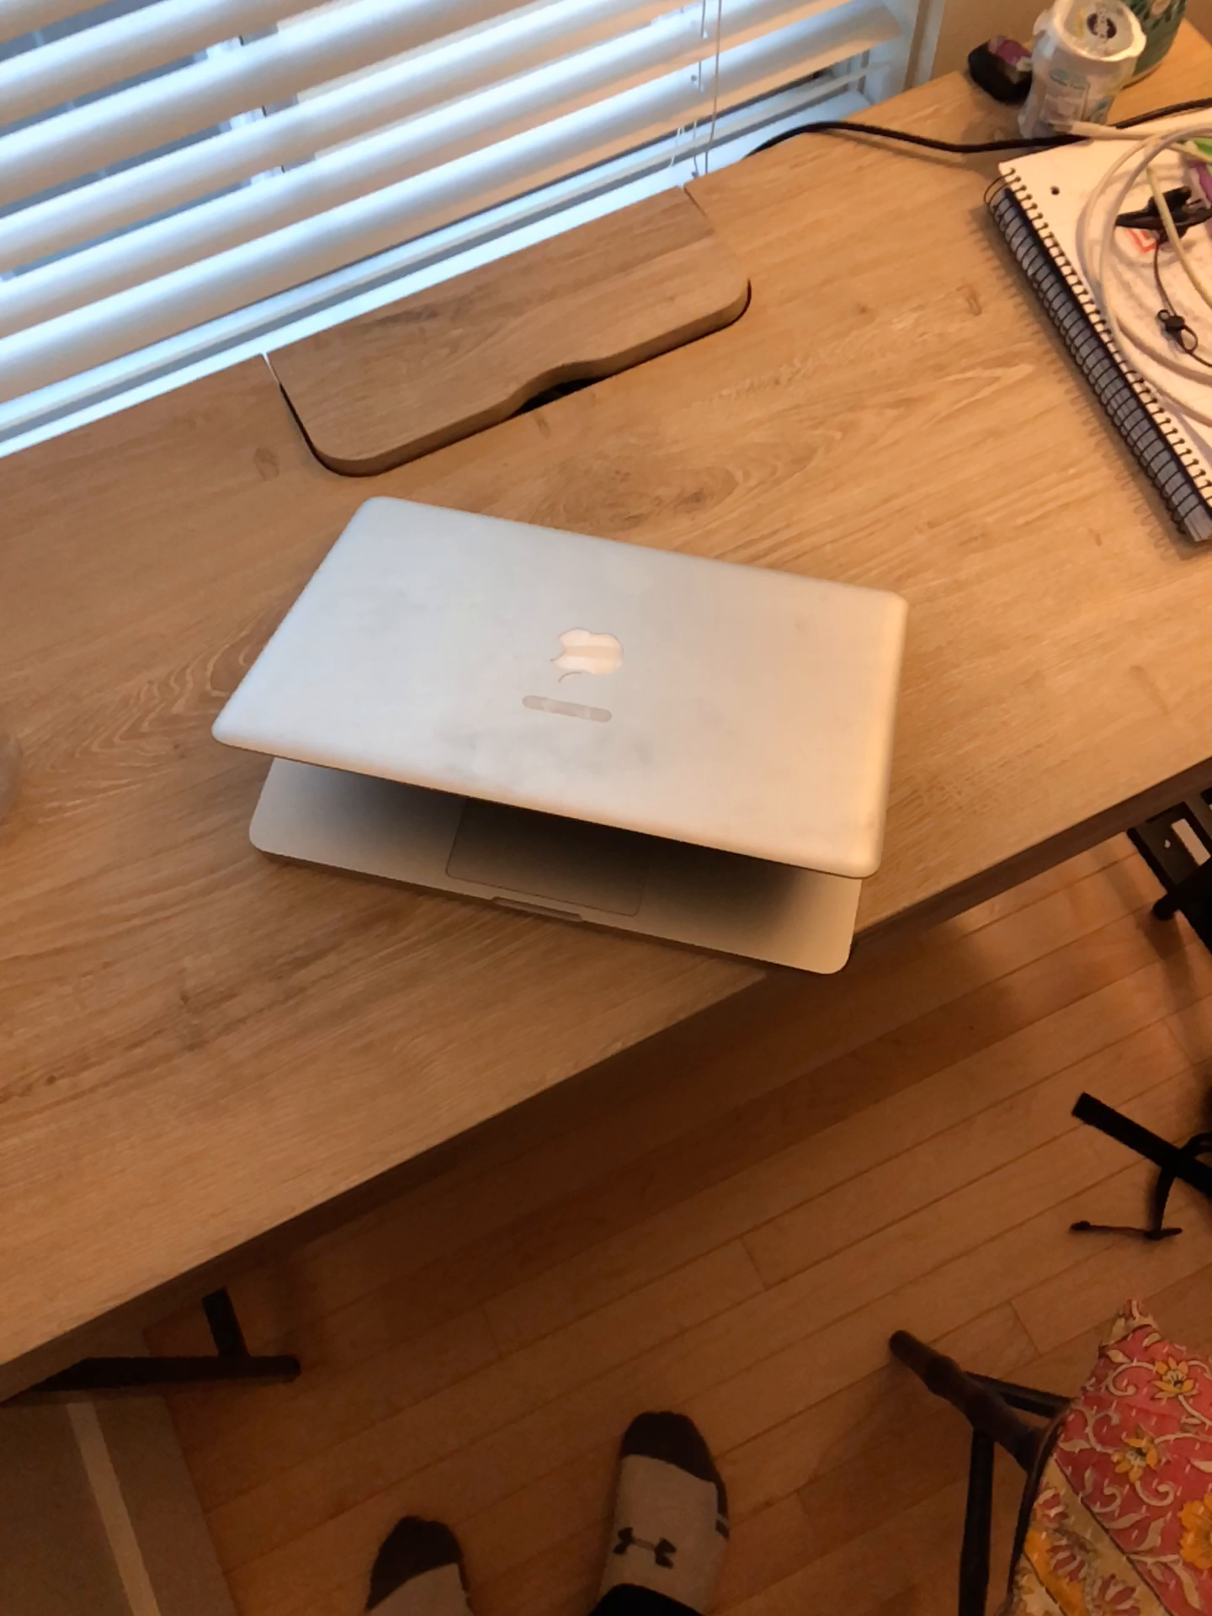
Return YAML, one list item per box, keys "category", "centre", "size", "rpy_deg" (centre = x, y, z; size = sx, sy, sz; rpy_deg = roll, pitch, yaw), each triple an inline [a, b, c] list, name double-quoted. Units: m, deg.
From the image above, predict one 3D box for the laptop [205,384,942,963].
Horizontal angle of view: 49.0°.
- category: "laptop"
  centre: [-0.008, -0.075, 0.691]
  size: [0.318, 0.090, 0.229]
  rpy_deg: [12, 68, 7]
